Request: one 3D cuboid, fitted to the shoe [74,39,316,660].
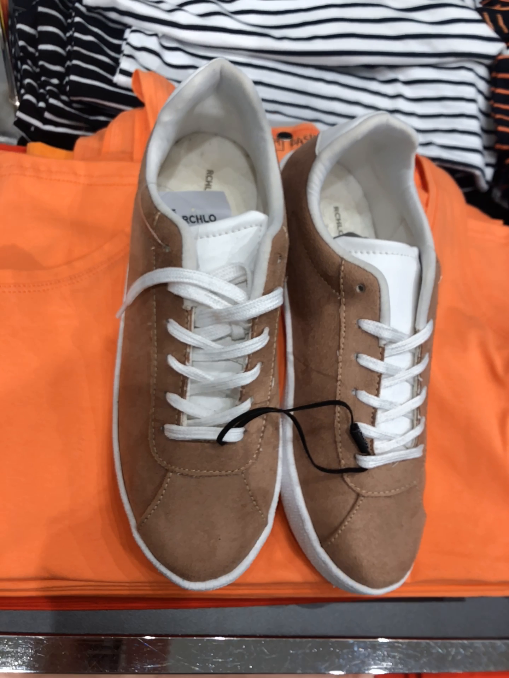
[{"bbox_3d":[-0.033,0.001,0.284,0.090,0.100,0.250,2,79,-13],"label":"shoe"}]

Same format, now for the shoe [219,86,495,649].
[{"bbox_3d":[0.041,0.009,0.310,0.090,0.100,0.250,-2,79,-14],"label":"shoe"}]
